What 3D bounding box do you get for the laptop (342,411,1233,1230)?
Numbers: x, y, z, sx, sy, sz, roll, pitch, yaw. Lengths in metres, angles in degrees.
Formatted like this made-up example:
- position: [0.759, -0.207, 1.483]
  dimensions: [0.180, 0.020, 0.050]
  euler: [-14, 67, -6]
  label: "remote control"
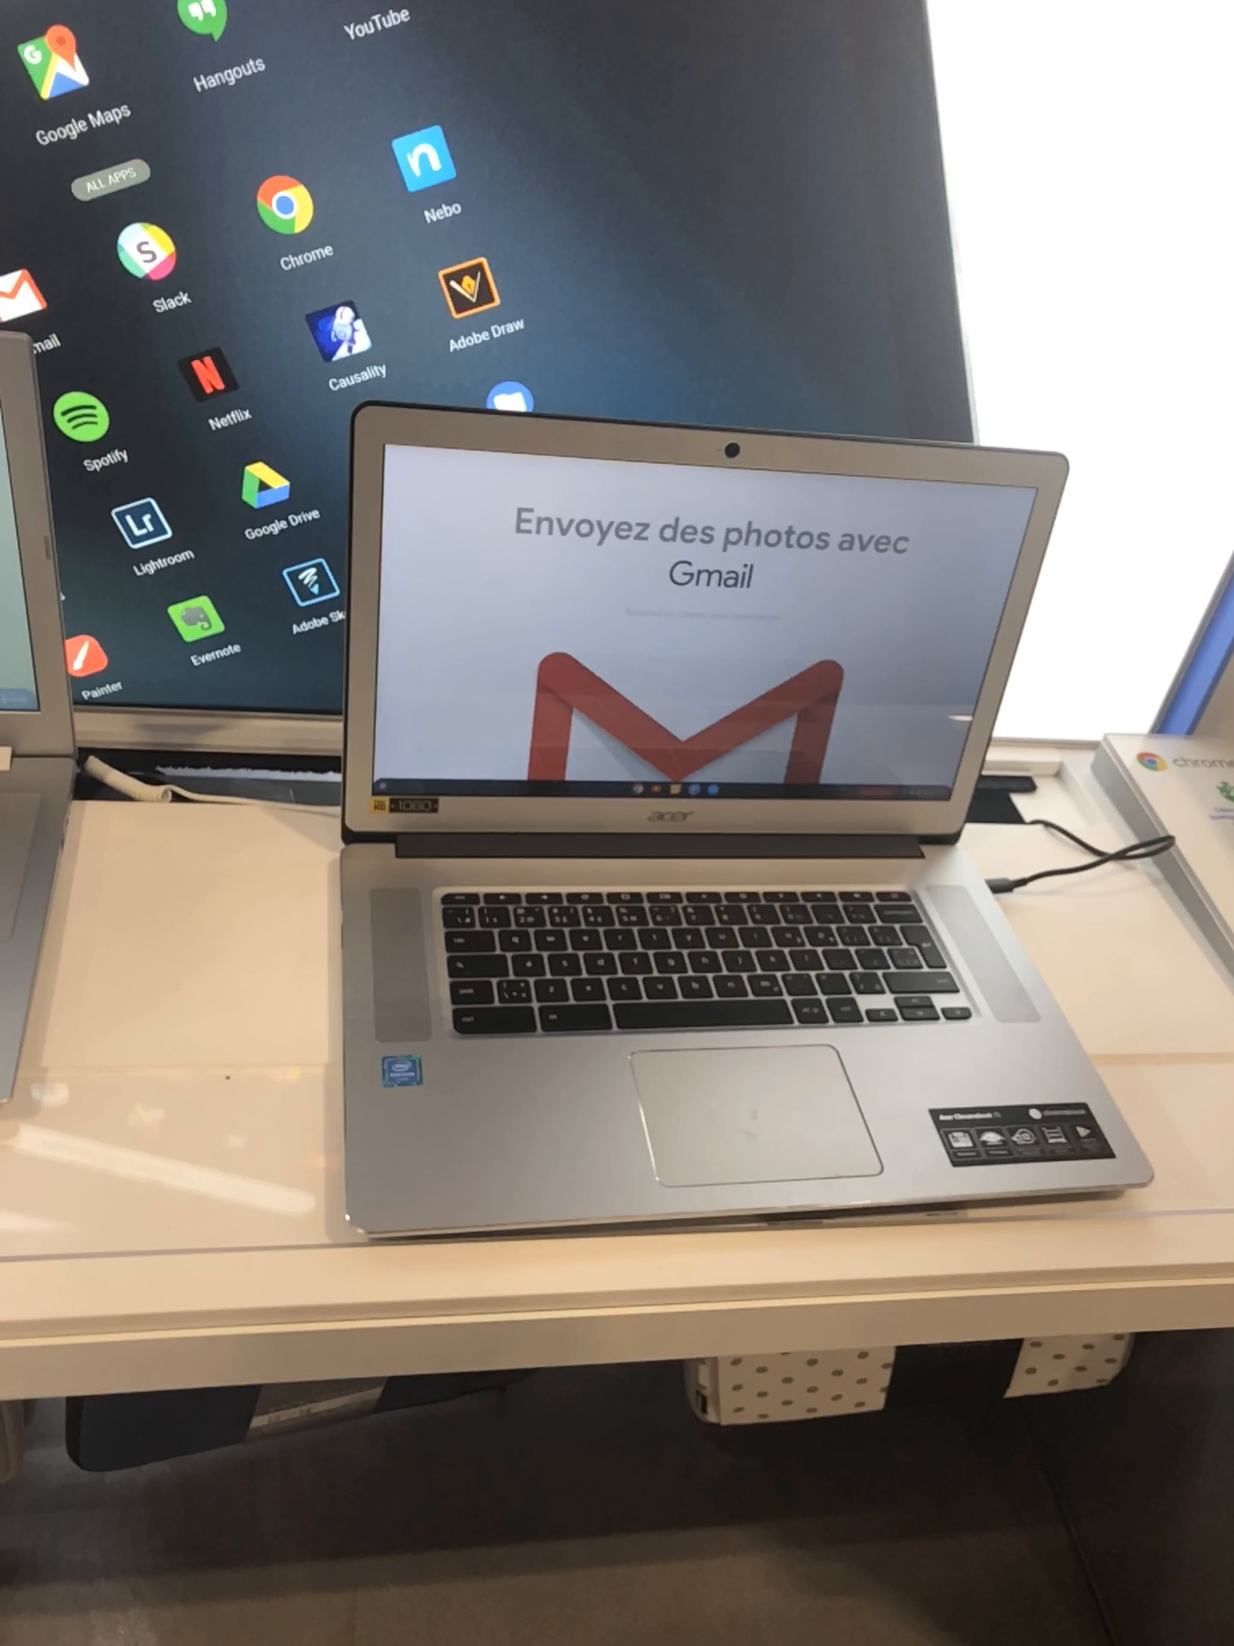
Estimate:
- position: [0.065, -0.009, 0.651]
  dimensions: [0.371, 0.243, 0.283]
  euler: [0, 38, -14]
  label: "laptop"
